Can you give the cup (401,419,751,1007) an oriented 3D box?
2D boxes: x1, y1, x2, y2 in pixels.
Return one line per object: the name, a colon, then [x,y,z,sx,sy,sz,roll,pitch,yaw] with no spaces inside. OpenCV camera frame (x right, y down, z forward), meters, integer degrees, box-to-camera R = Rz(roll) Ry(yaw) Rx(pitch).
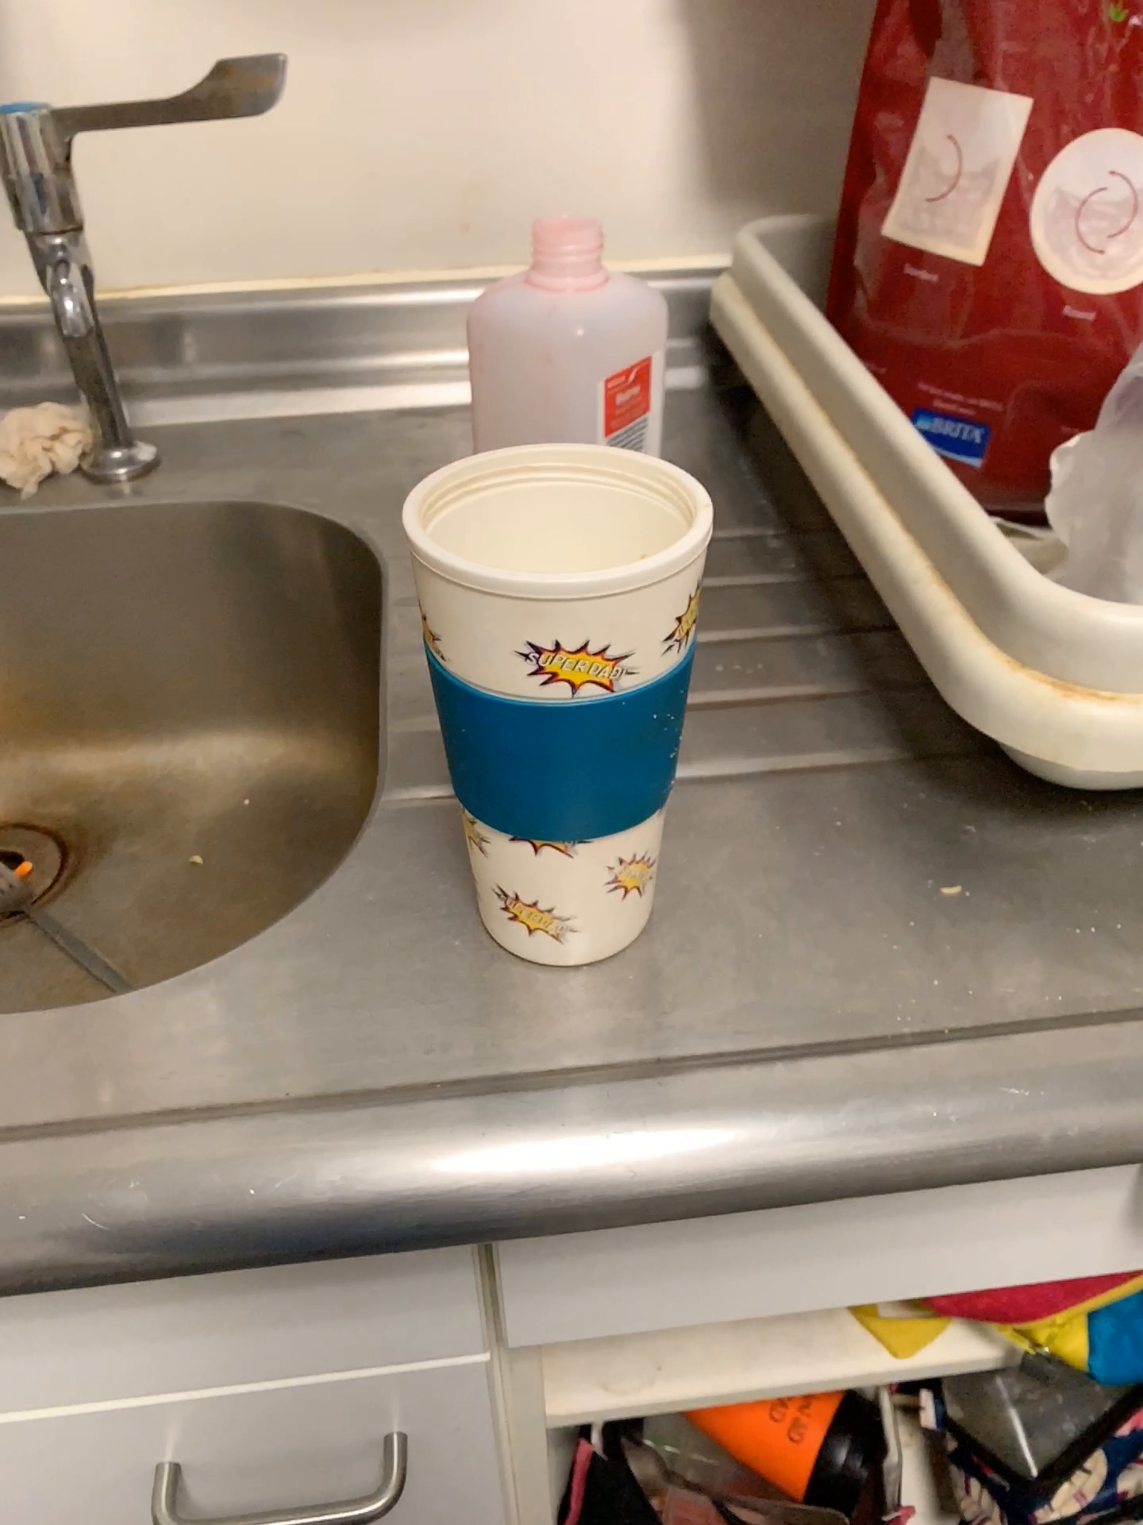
cup: [0.000,-0.013,0.388,0.089,0.167,0.093,-1,37,0]
